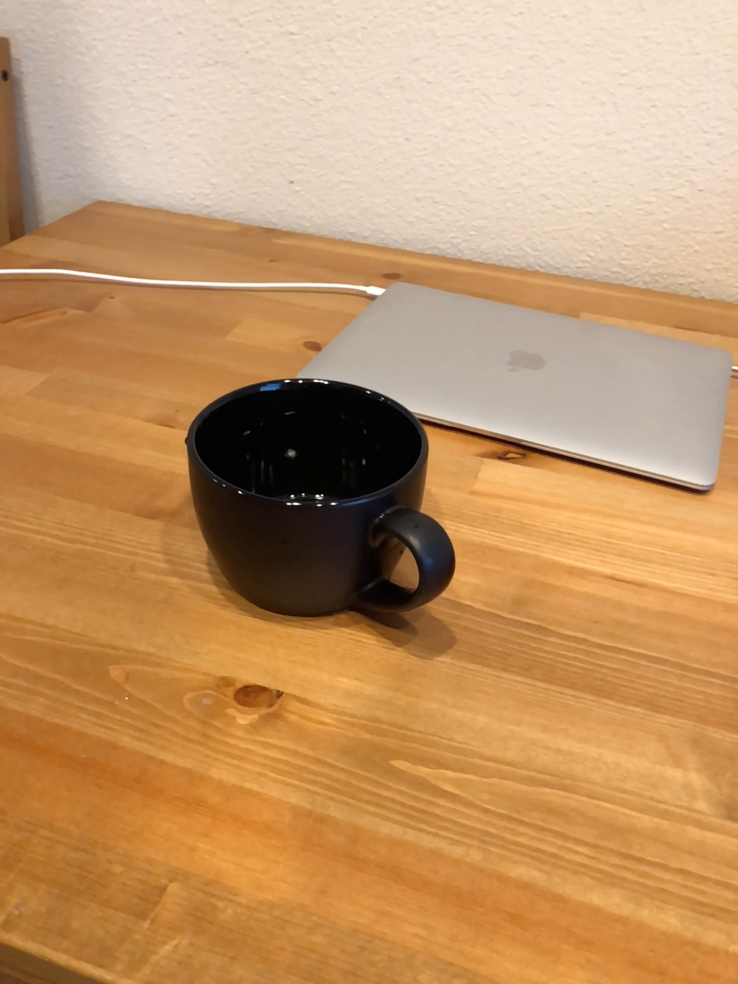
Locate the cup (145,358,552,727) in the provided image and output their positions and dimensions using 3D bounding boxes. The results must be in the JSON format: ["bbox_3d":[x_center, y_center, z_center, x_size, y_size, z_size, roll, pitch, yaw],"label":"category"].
[{"bbox_3d":[-0.014,0.012,0.418,0.120,0.080,0.160,-27,45,-36],"label":"cup"}]
